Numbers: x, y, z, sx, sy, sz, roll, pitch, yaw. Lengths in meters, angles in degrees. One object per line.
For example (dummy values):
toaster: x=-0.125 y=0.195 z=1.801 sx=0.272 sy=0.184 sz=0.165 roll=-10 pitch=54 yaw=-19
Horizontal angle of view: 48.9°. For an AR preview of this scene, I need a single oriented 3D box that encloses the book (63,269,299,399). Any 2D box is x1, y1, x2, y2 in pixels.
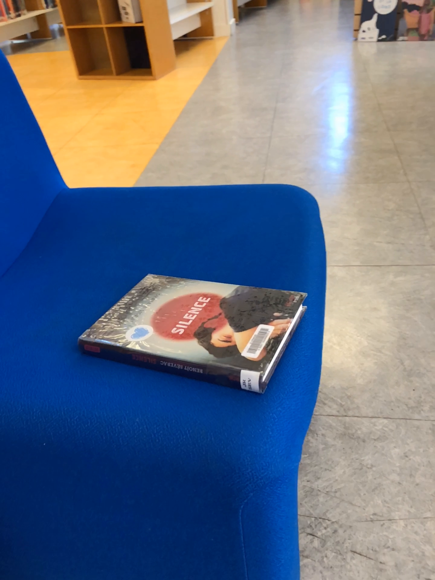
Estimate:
book: x=-0.035 y=0.036 z=0.519 sx=0.211 sy=0.023 sz=0.147 roll=8 pitch=36 yaw=24
